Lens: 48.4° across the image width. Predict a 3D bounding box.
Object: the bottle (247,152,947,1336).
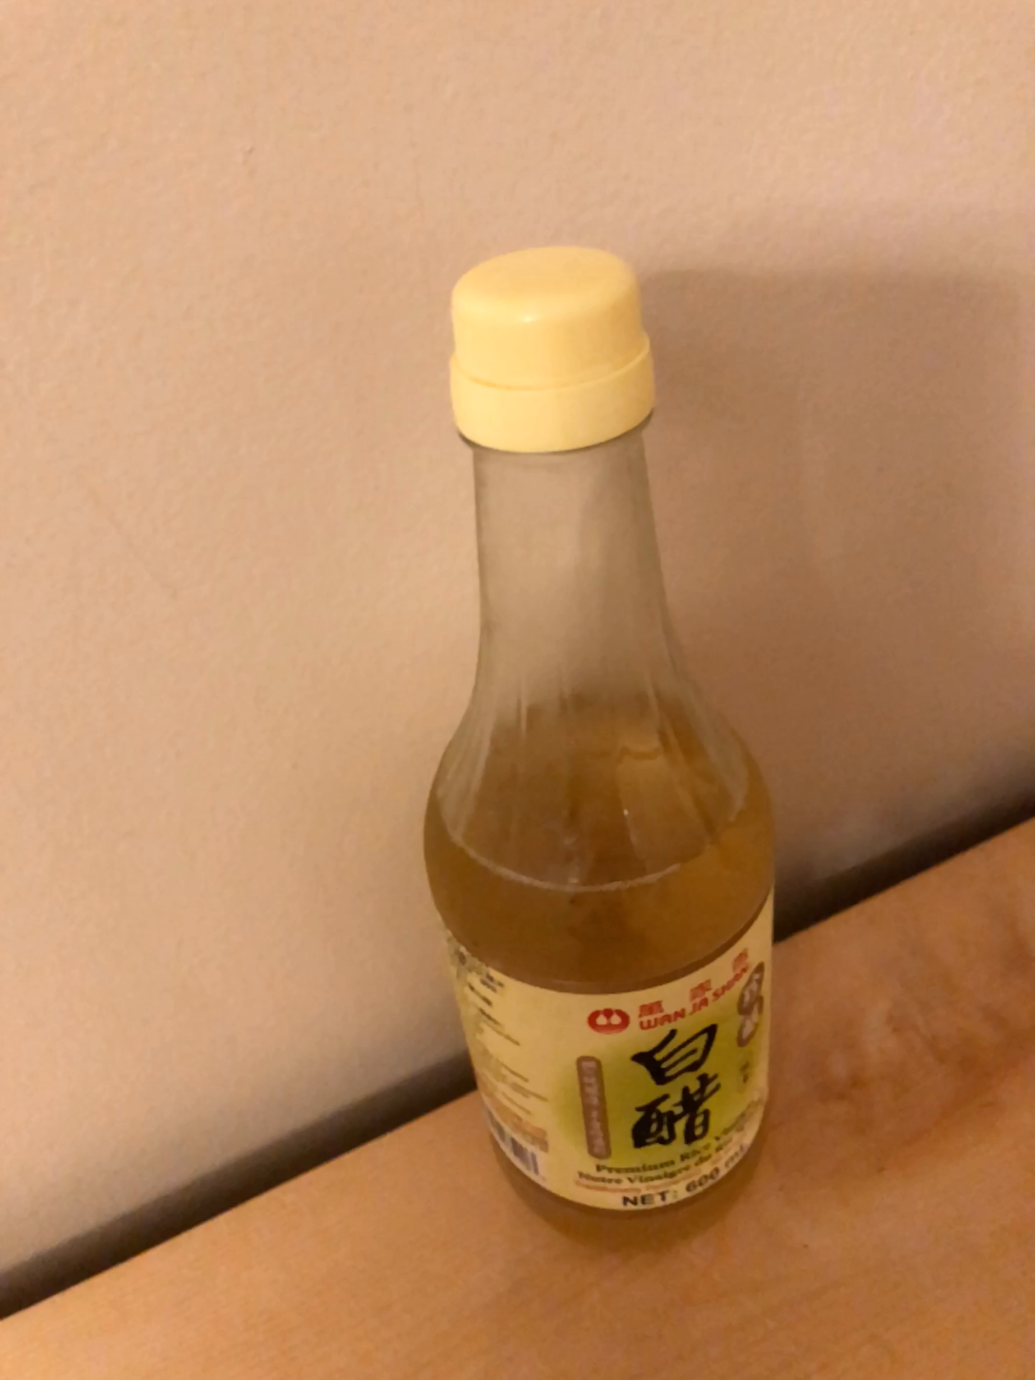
[{"bbox_3d":[0.021,0.028,0.247,0.080,0.238,0.081,-6,37,5],"label":"bottle"}]
